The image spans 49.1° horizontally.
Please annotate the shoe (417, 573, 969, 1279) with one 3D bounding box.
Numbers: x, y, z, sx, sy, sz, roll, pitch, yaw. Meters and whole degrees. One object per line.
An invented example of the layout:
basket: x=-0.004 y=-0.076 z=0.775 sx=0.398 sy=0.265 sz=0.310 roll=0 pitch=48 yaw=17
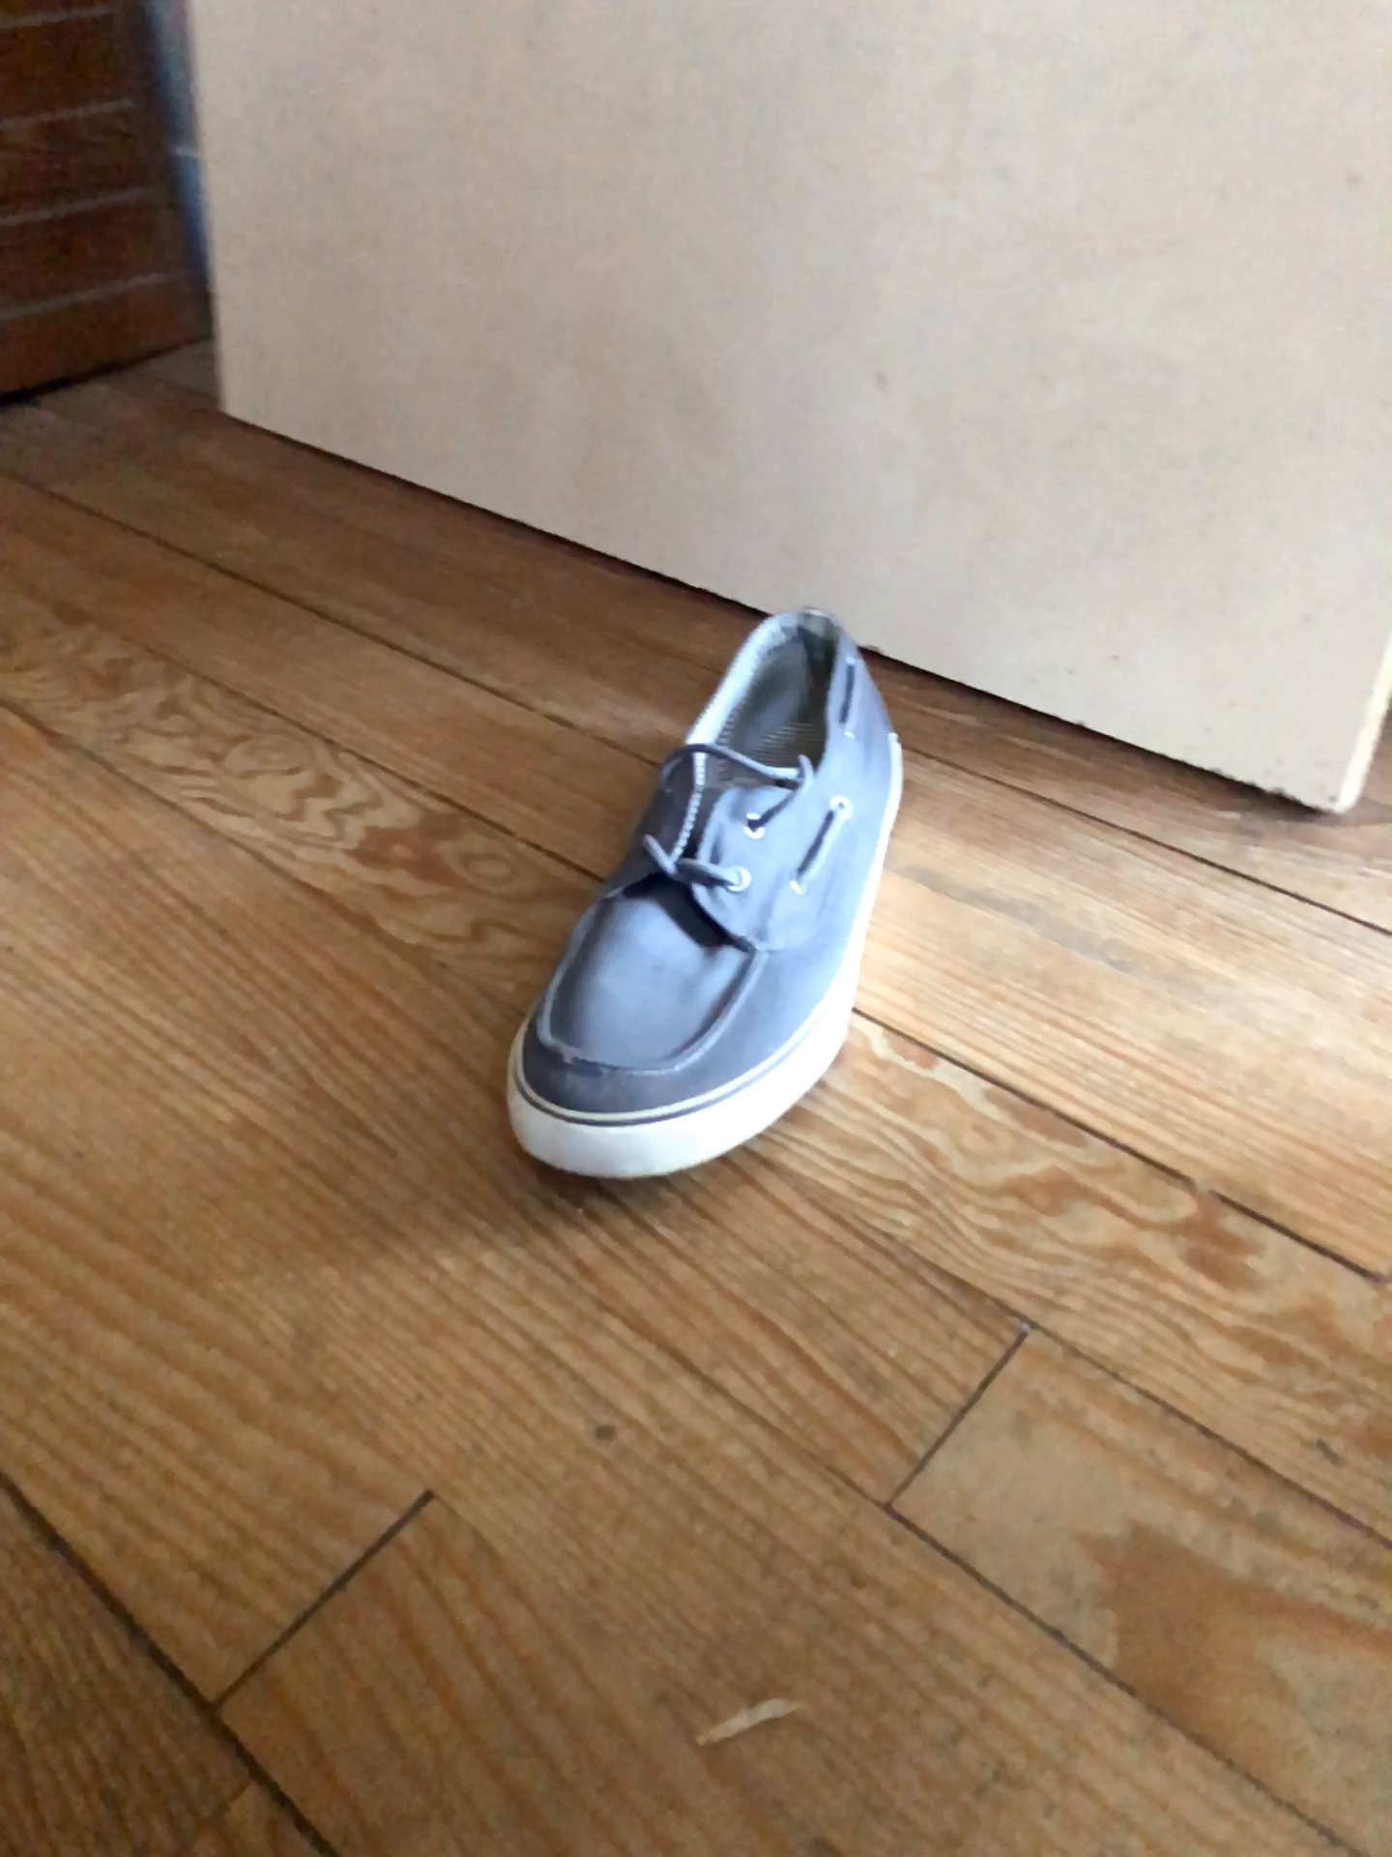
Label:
shoe: x=0.016 y=-0.021 z=0.509 sx=0.100 sy=0.060 sz=0.272 roll=9 pitch=44 yaw=16
